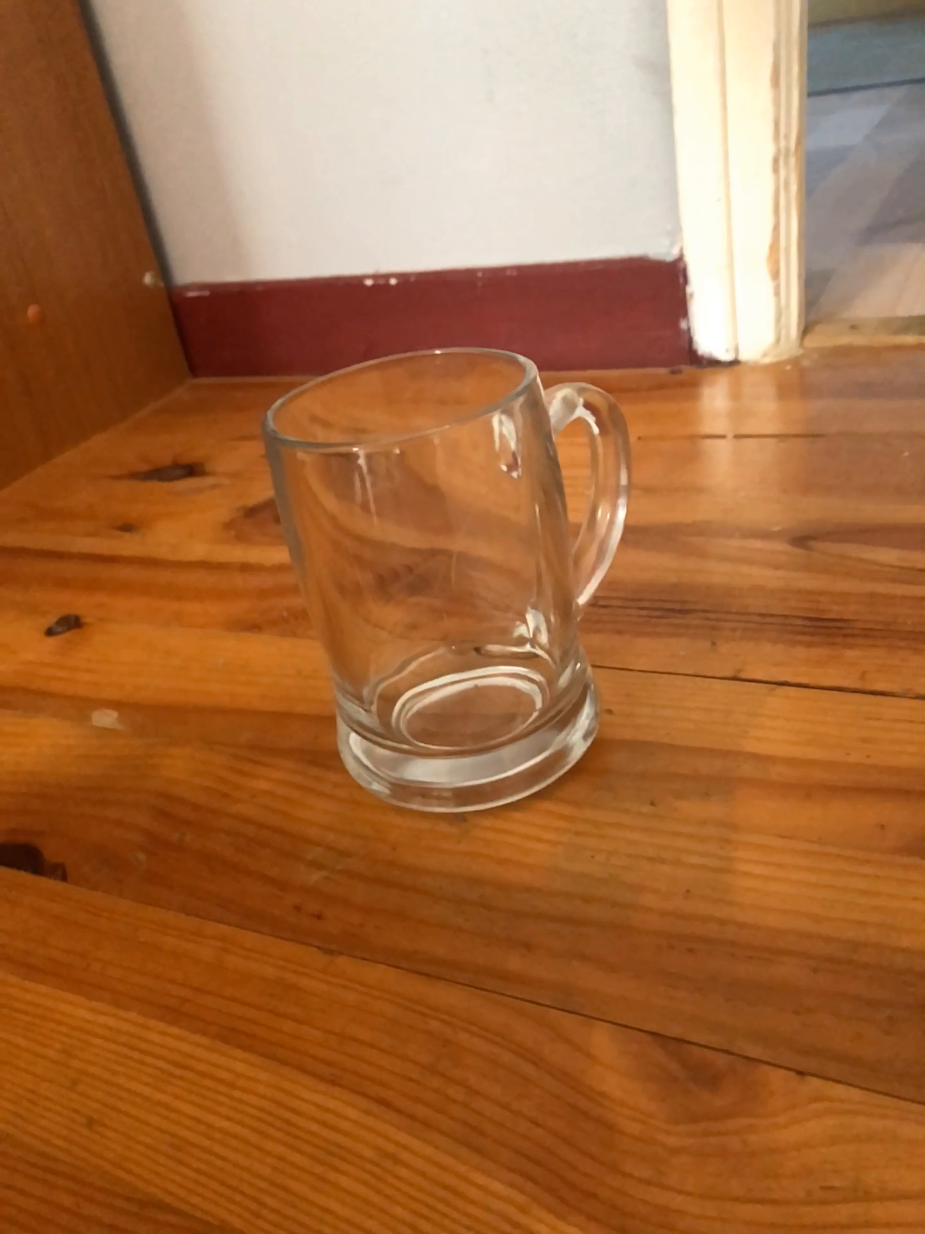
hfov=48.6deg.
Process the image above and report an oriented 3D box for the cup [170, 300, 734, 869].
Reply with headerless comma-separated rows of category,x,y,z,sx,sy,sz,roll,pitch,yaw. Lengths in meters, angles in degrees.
cup,0.003,-0.020,0.313,0.129,0.110,0.091,-28,34,-28
